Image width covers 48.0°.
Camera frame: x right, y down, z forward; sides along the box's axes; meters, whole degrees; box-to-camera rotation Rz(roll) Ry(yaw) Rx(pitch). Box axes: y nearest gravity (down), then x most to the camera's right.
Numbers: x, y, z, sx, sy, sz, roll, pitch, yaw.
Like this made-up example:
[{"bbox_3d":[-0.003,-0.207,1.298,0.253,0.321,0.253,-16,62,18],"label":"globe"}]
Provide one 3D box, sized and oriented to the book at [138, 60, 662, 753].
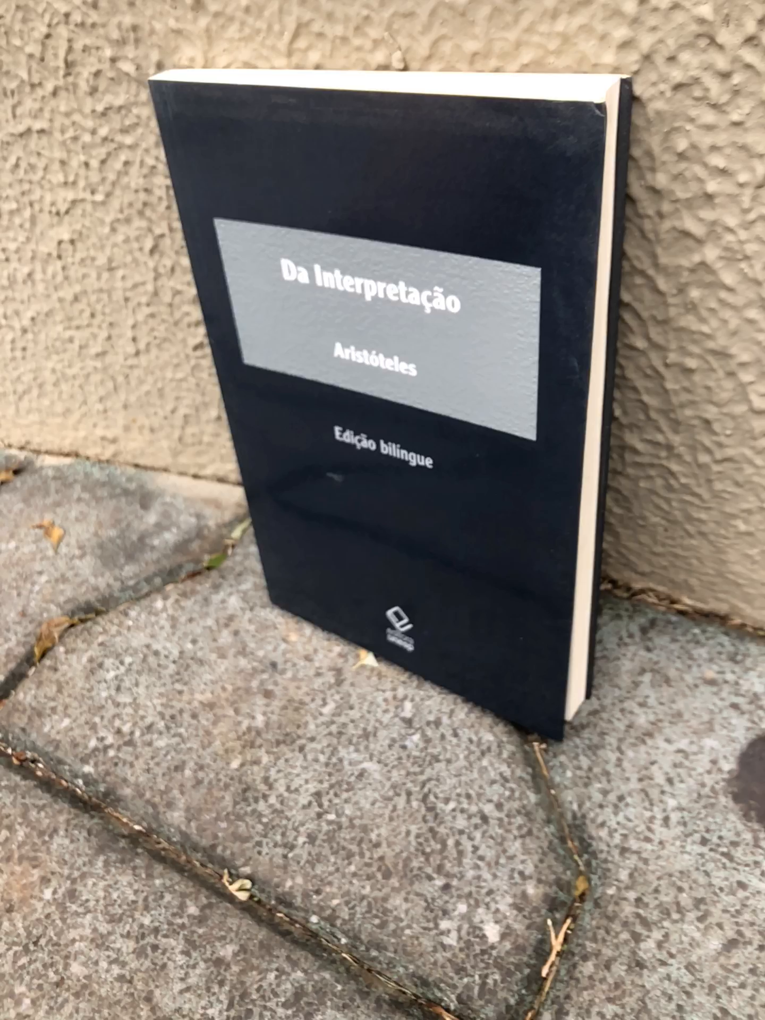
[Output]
[{"bbox_3d":[0.004,-0.027,0.259,0.132,0.187,0.030,21,44,32],"label":"book"}]
